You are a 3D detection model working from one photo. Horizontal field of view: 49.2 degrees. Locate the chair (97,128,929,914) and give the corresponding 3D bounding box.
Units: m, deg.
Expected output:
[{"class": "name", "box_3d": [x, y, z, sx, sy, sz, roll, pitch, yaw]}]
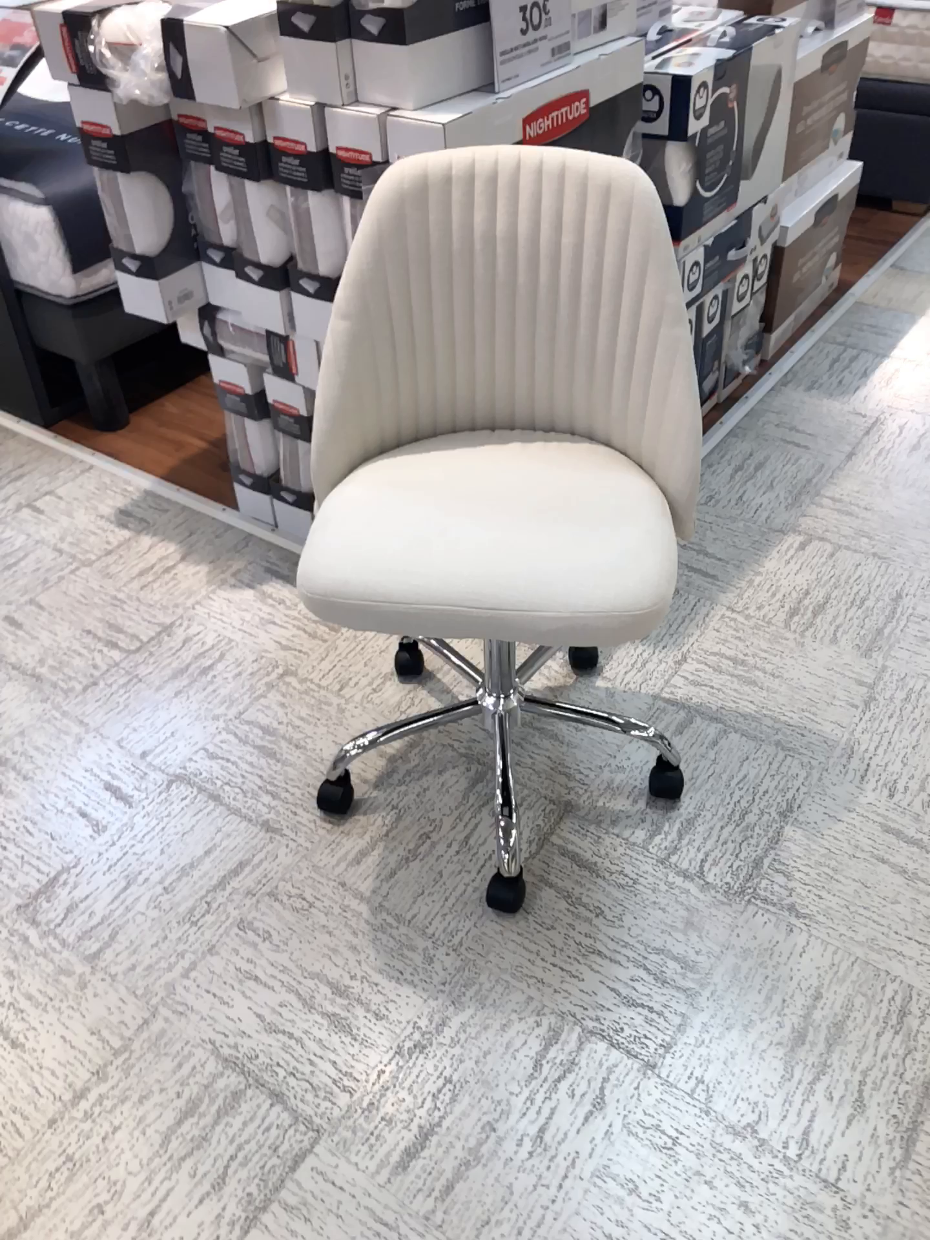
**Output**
[{"class": "chair", "box_3d": [0.069, -0.120, 1.325, 0.700, 0.785, 0.634, -1, 40, 3]}]
